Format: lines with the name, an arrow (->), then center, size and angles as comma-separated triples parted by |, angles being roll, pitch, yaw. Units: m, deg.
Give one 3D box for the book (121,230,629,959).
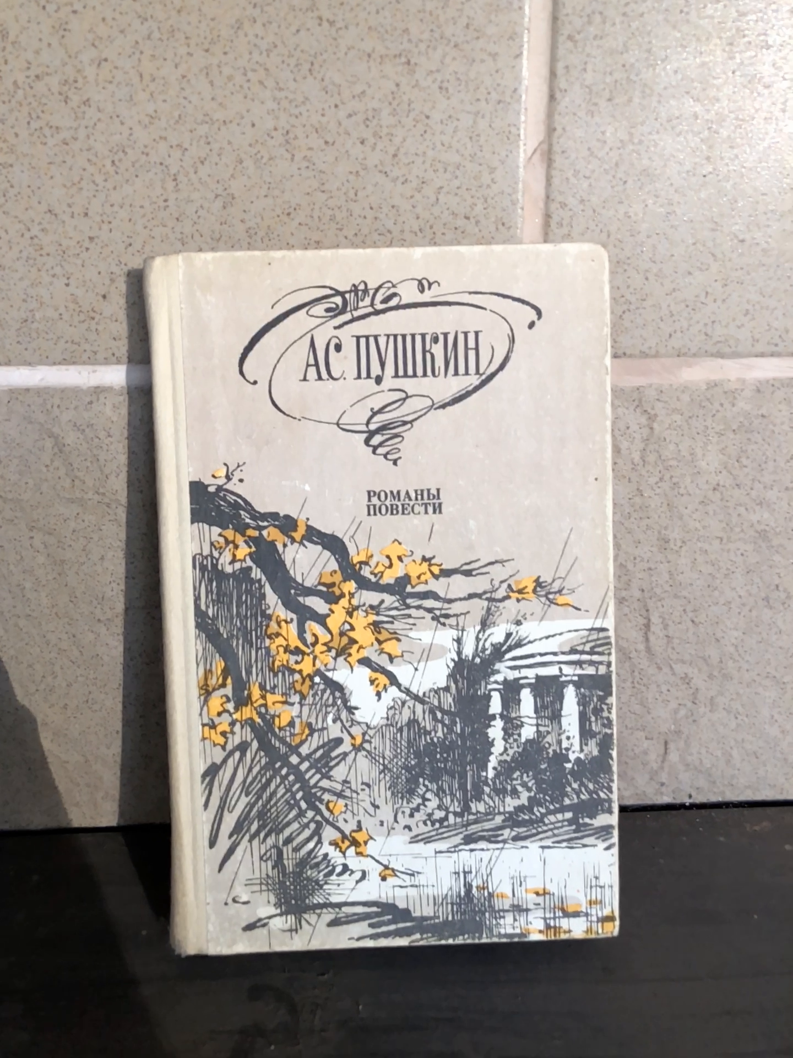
book -> -0.003, 0.022, 0.248 | 0.130, 0.198, 0.020 | -2, 8, -1
